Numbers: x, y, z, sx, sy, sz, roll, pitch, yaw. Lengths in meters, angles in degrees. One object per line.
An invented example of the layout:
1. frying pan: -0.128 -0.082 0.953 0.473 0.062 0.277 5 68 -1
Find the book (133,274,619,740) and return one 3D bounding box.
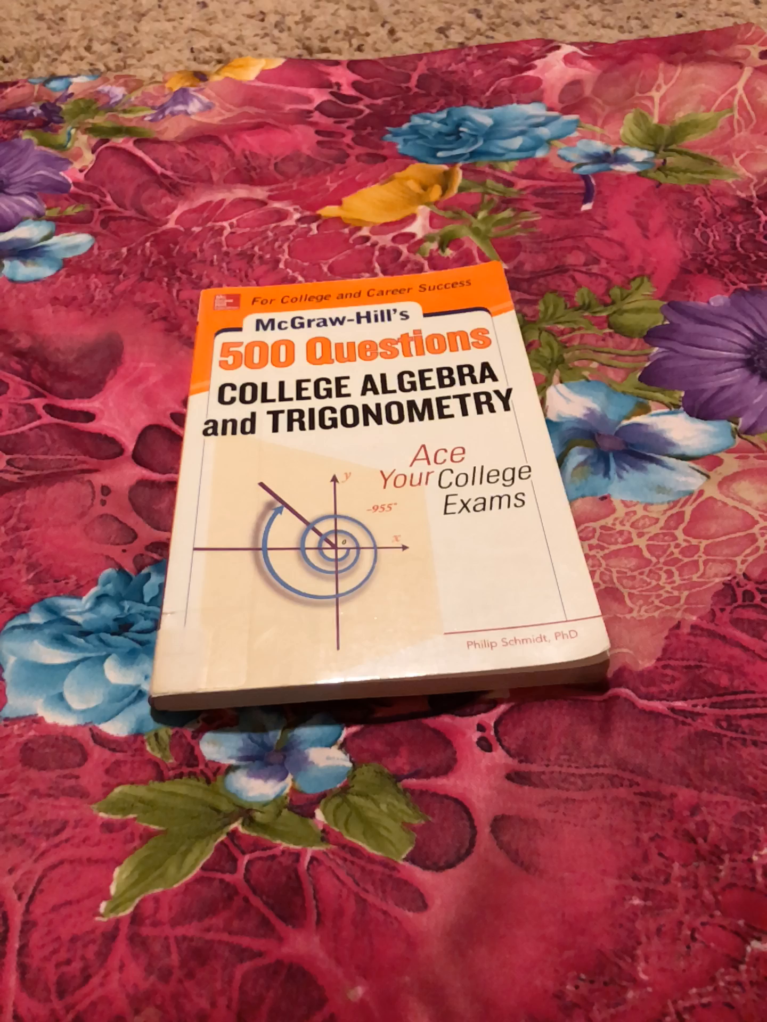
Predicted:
1. book: -0.009 -0.019 0.352 0.156 0.022 0.221 -4 50 -1
